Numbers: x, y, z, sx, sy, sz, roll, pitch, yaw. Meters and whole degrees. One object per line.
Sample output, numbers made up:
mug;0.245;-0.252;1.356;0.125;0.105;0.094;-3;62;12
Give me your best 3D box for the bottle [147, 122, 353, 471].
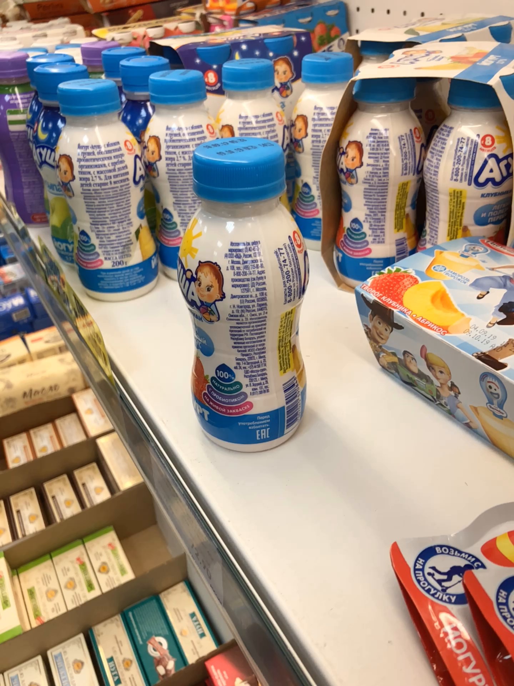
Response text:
bottle;-0.002;-0.019;0.251;0.060;0.129;0.060;-2;34;2
